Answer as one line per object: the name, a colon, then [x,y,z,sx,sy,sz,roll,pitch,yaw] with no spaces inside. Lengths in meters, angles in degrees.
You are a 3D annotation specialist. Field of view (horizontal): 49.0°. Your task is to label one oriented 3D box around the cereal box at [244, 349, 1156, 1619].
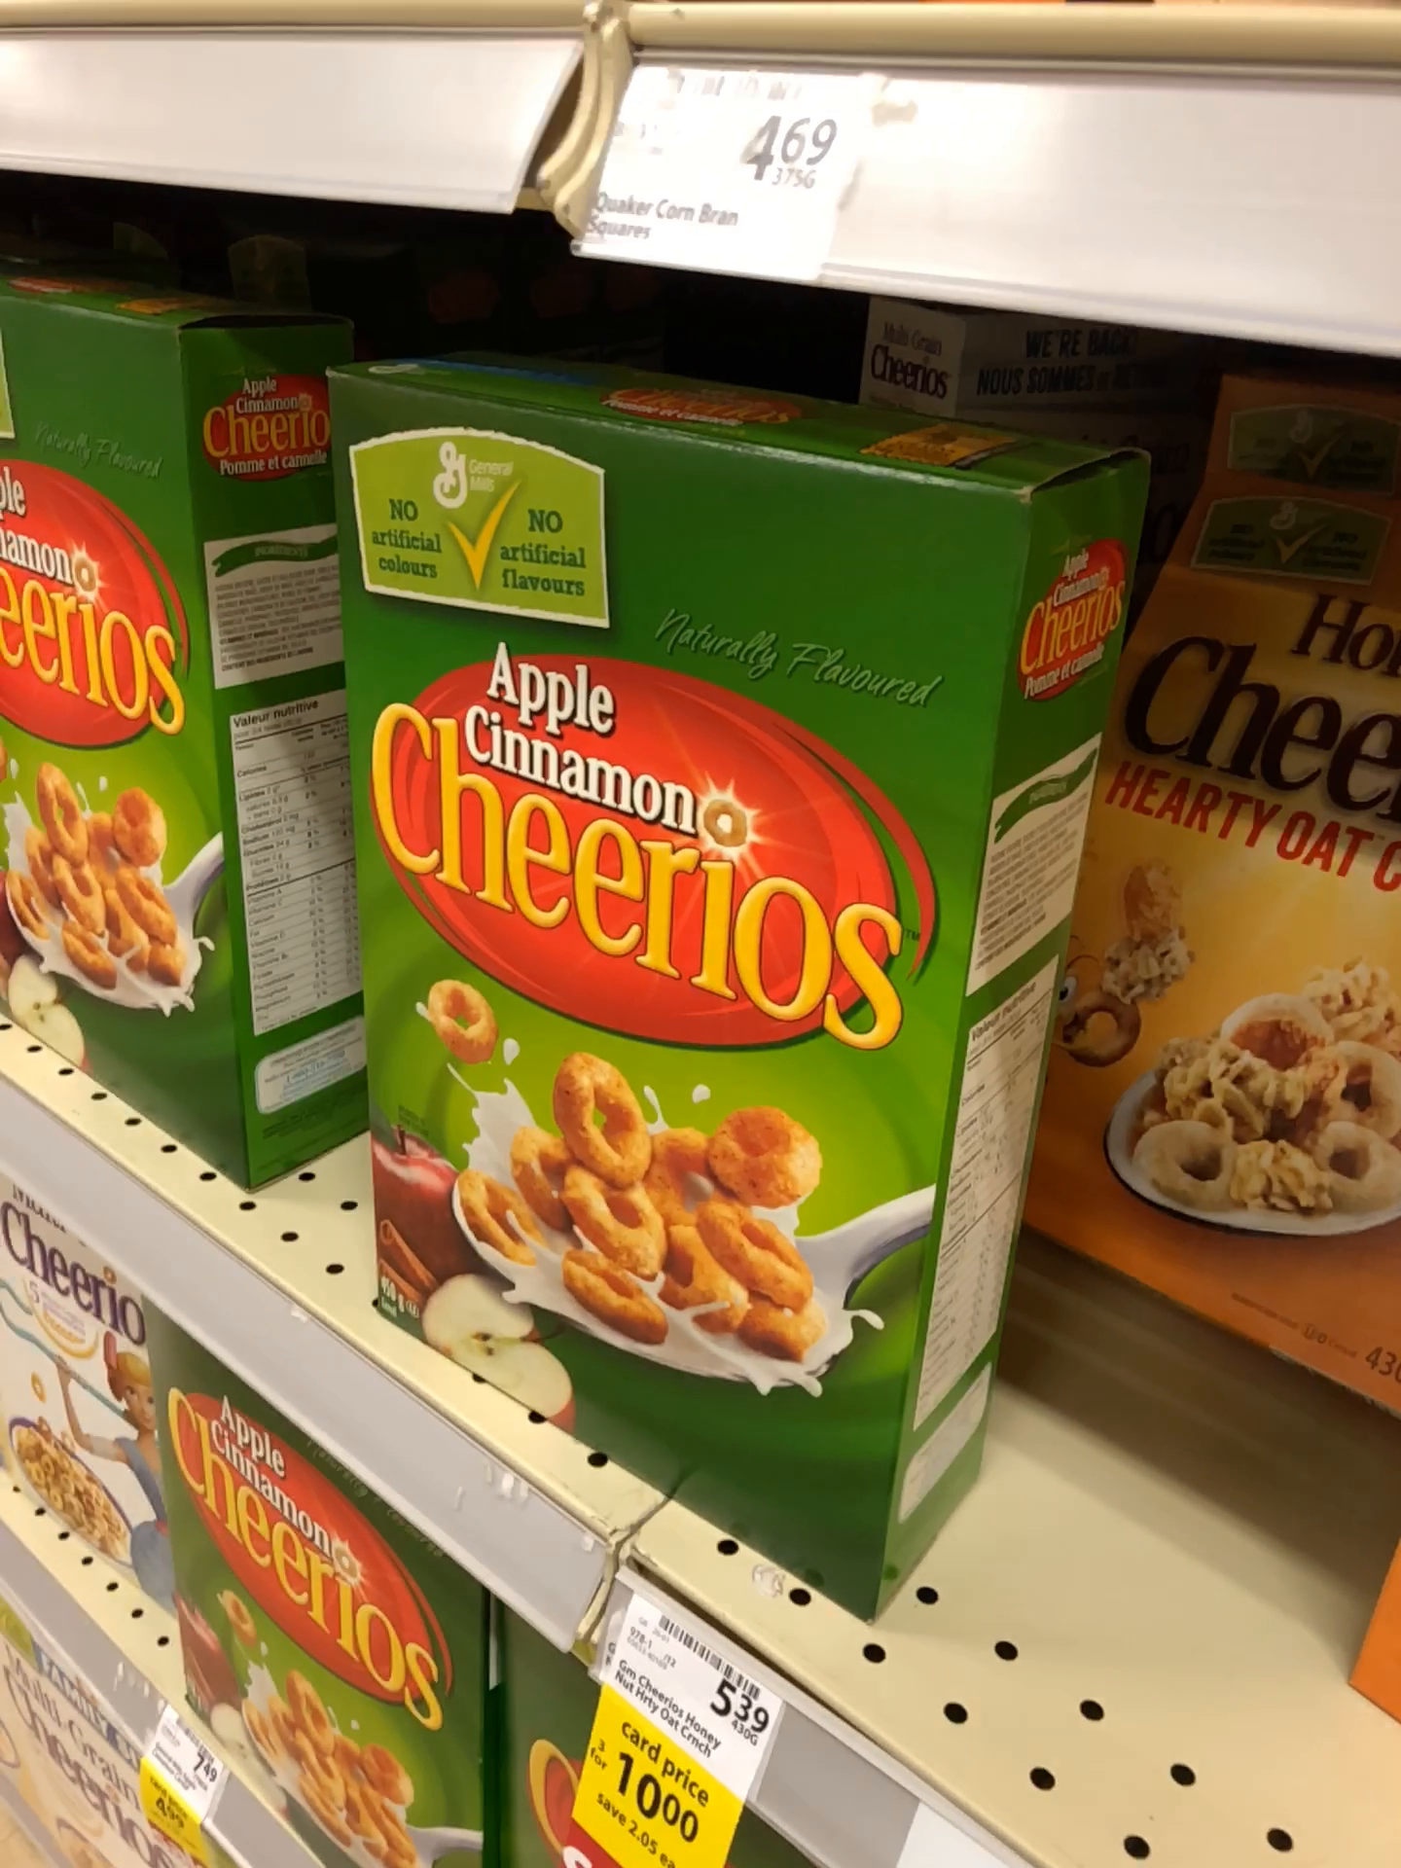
cereal box: [-0.016,0.007,0.420,0.211,0.288,0.070,20,31,31]
